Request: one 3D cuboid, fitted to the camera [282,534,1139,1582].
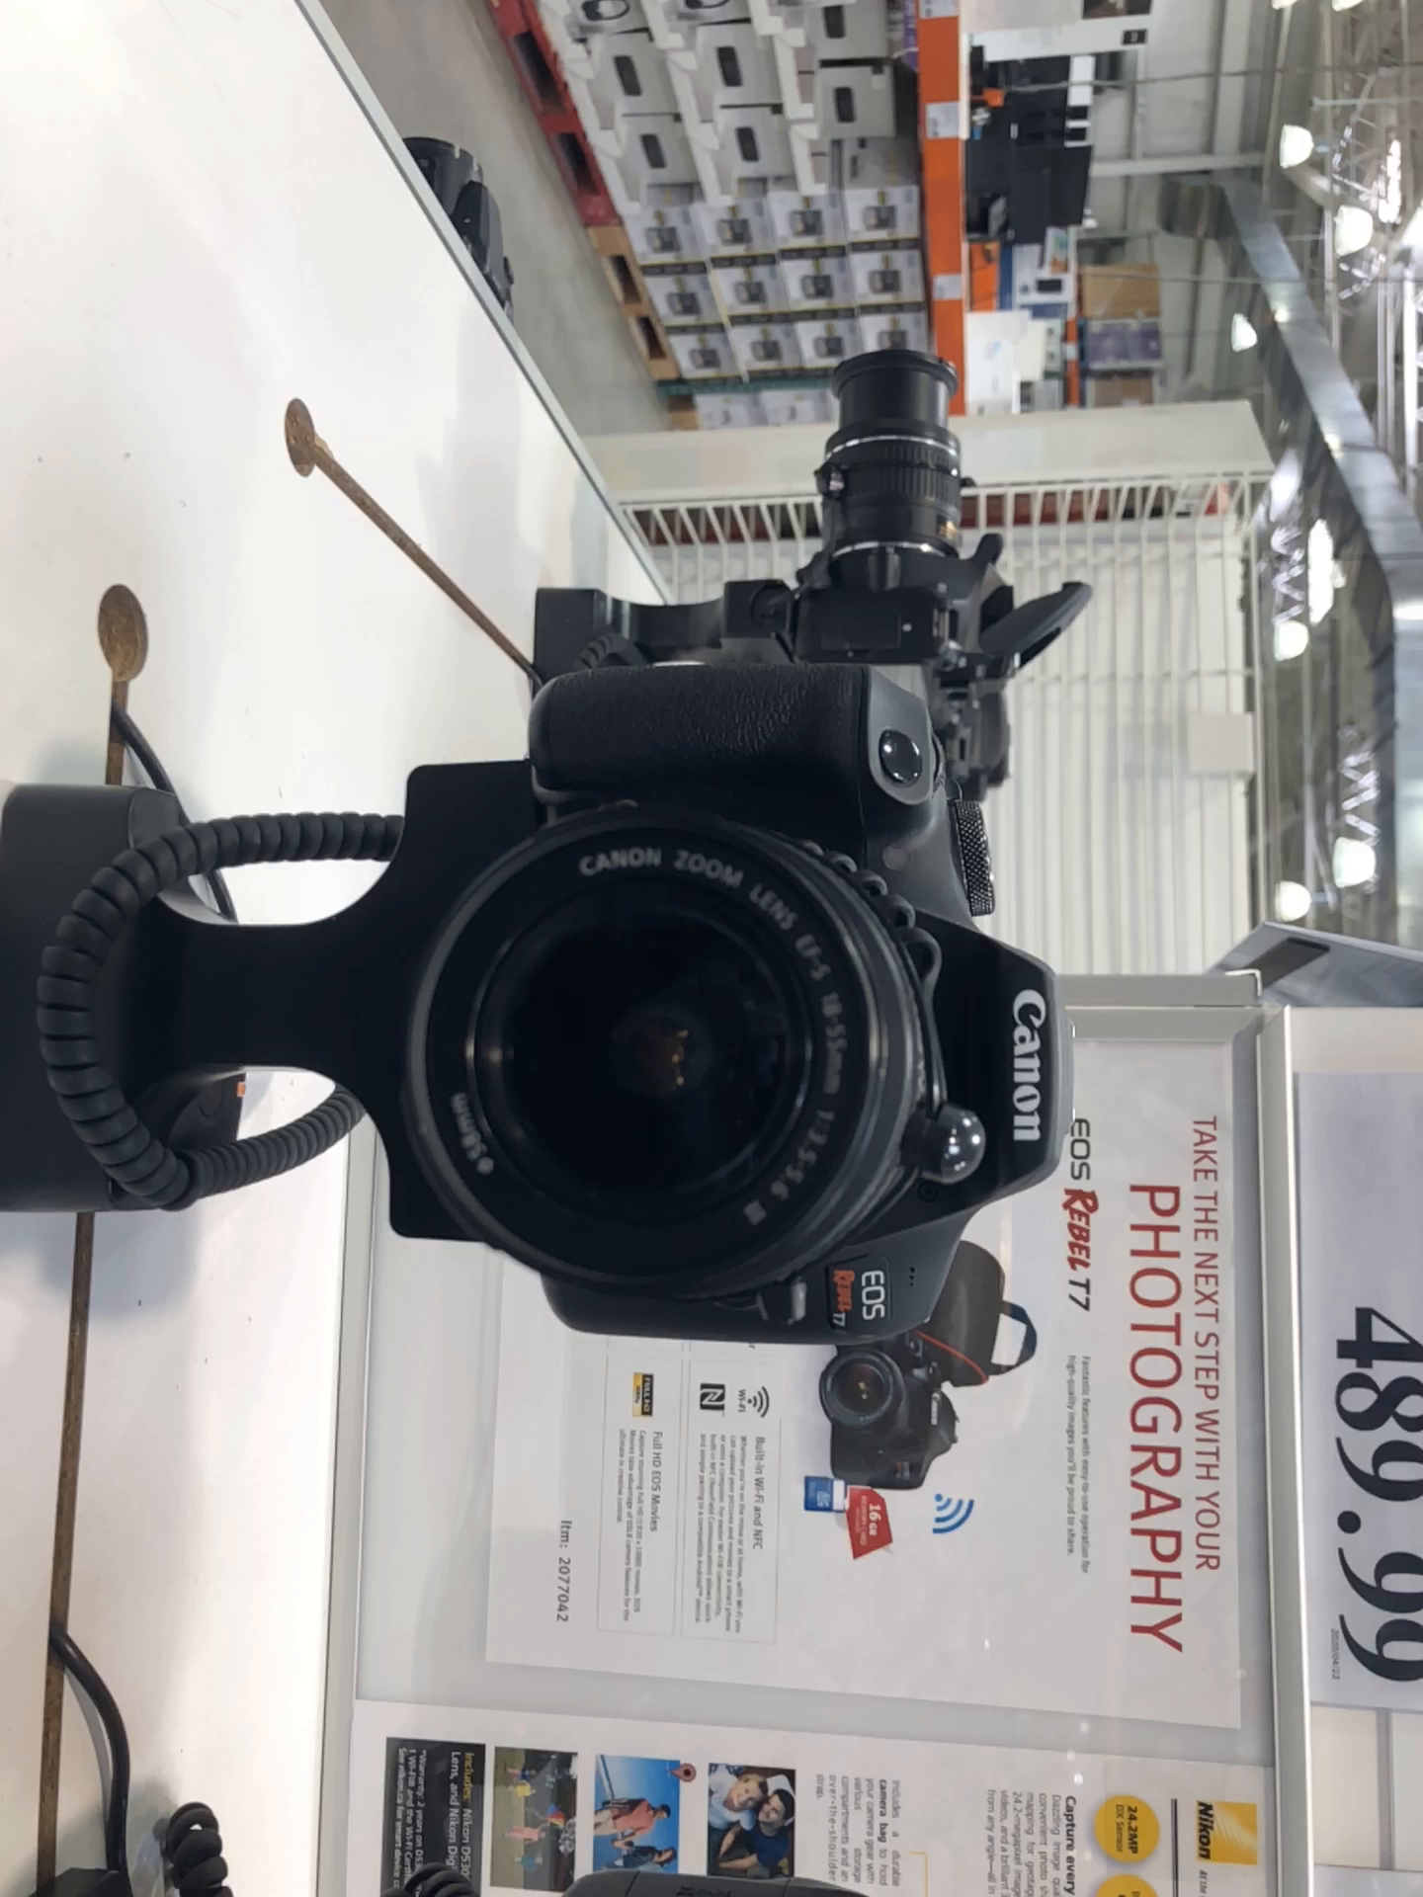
[{"bbox_3d":[0.011,0.016,0.278,0.150,0.110,0.130,20,71,-80],"label":"camera"}]
